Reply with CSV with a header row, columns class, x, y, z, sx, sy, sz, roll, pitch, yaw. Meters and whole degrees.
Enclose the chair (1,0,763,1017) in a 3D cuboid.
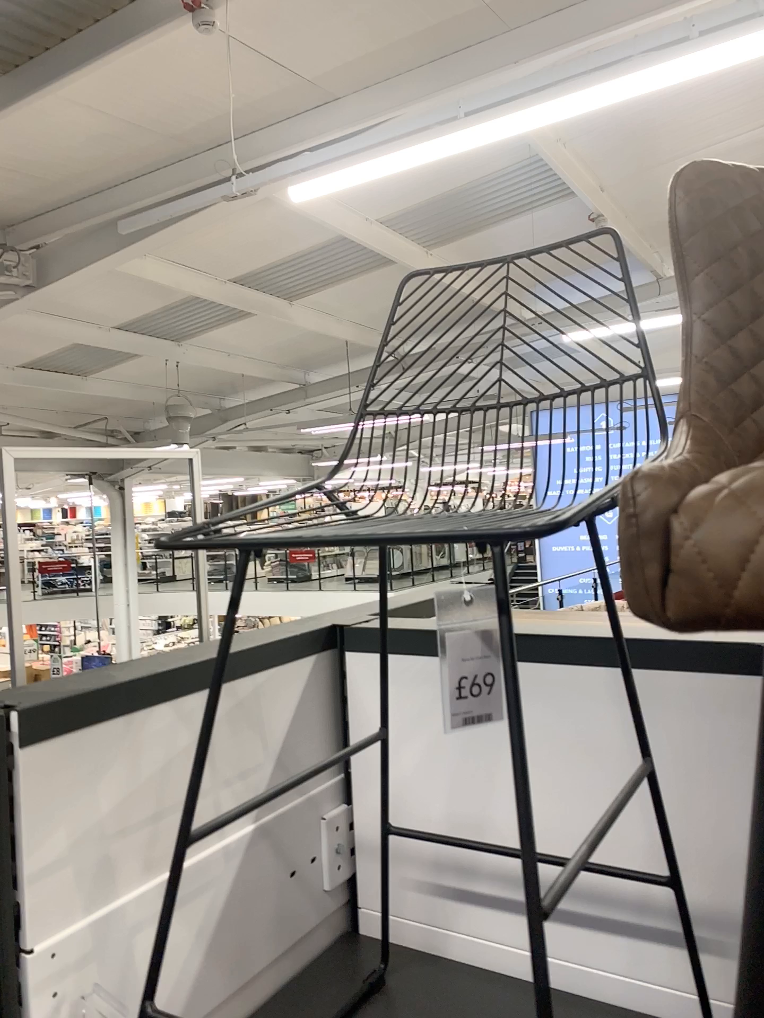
class,x,y,z,sx,sy,sz,roll,pitch,yaw
chair,0.050,0.141,0.778,0.508,0.968,0.528,-4,0,31
